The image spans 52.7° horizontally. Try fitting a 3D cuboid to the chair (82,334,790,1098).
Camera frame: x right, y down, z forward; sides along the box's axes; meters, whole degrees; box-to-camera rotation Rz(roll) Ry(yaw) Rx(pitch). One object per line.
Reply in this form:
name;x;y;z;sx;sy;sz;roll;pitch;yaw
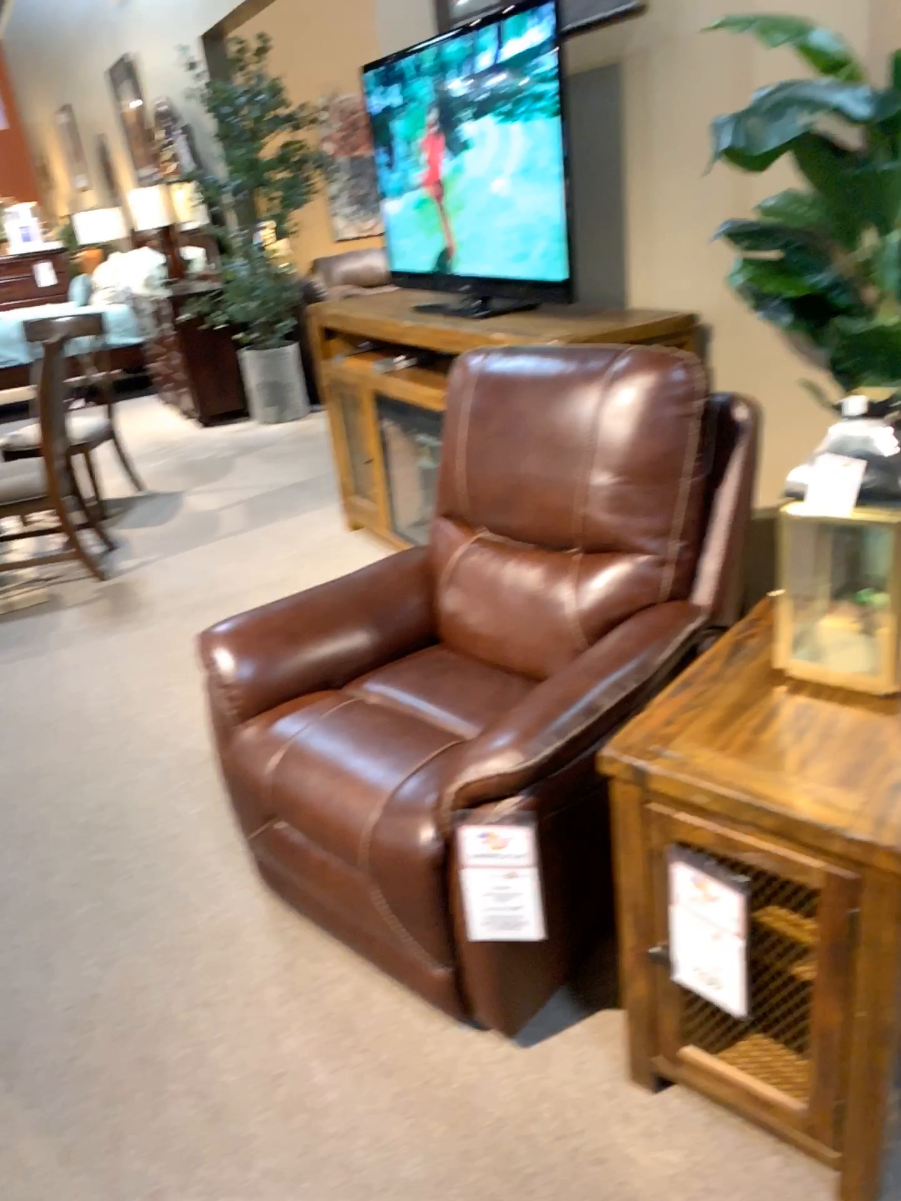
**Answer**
chair;0.036;0.070;1.782;0.850;0.974;0.914;15;33;40
